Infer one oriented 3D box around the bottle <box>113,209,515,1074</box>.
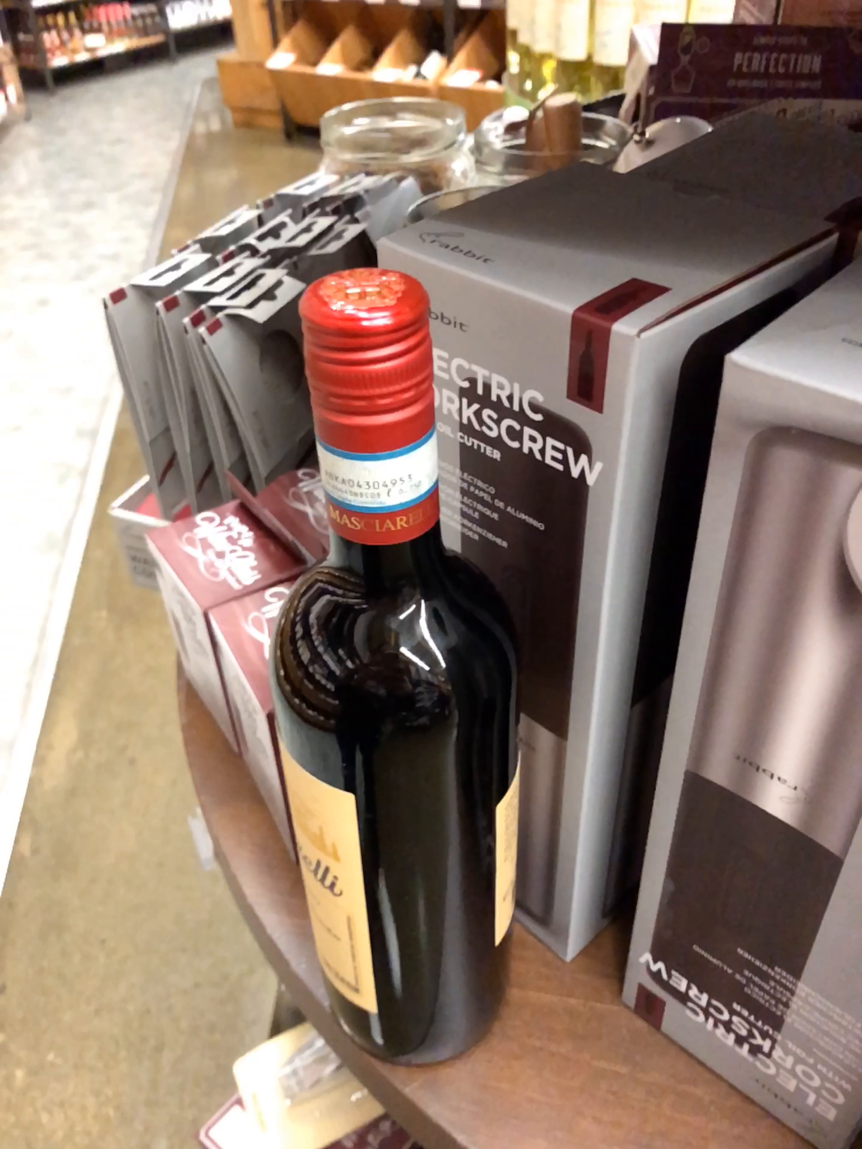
[{"bbox_3d":[-0.013,0.046,0.292,0.075,0.283,0.072,-3,37,2],"label":"bottle"}]
